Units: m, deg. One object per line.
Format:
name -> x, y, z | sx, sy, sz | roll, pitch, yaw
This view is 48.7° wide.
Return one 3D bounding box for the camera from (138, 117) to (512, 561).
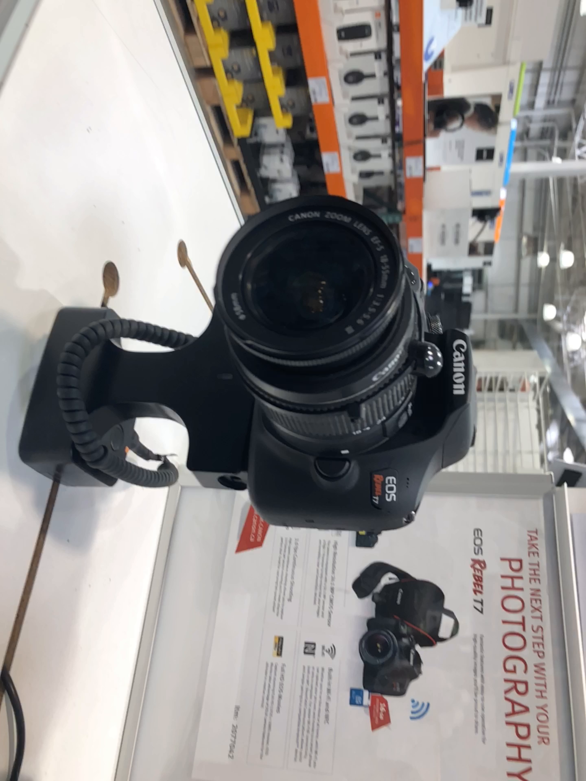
camera -> 0.026, -0.008, 0.281 | 0.150, 0.110, 0.130 | 65, 28, -65
